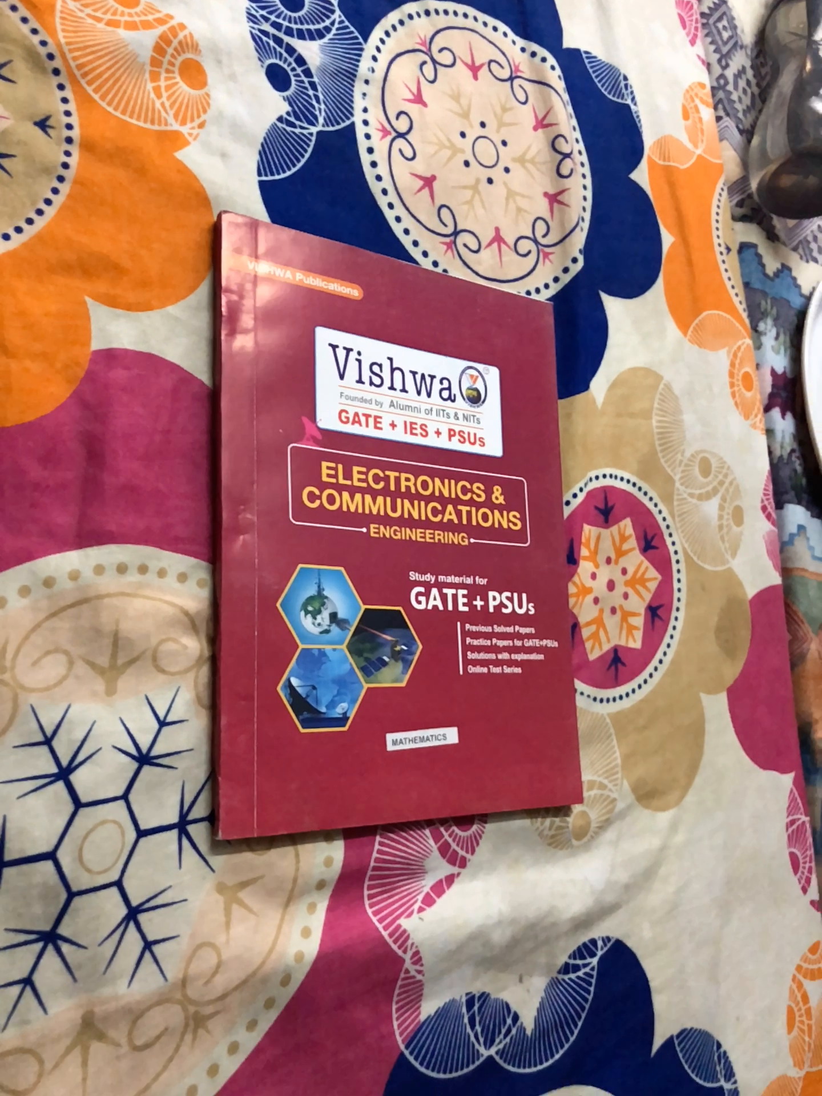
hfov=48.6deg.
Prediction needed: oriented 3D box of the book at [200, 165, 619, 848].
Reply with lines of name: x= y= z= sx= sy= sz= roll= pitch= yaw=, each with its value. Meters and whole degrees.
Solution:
book: x=0.004 y=-0.017 z=0.459 sx=0.217 sy=0.030 sz=0.300 roll=6 pitch=76 yaw=-33
